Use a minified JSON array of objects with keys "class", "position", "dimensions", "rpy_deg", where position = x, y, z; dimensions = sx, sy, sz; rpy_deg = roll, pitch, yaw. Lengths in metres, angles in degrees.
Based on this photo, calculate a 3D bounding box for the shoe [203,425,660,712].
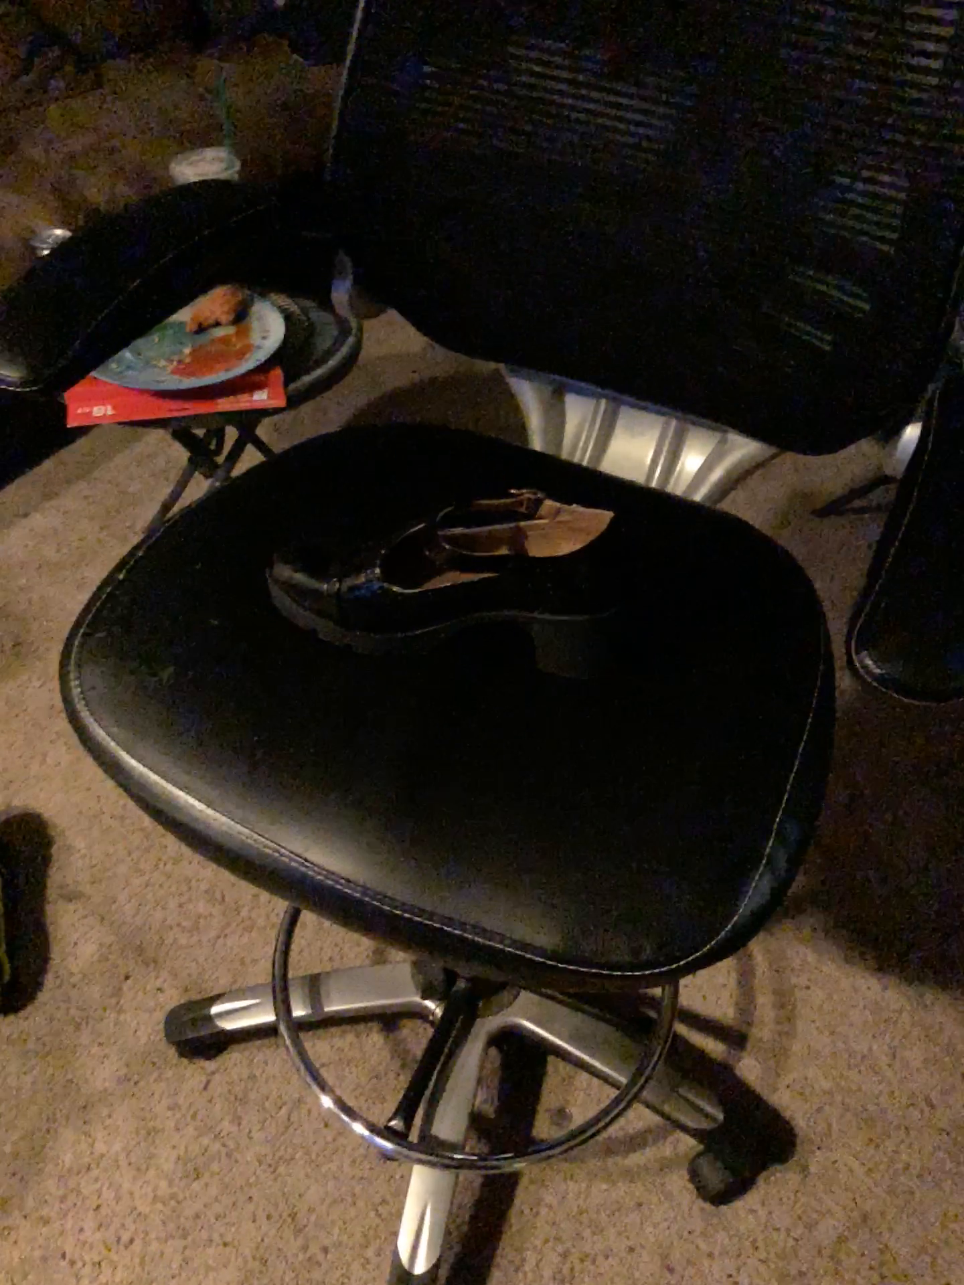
[{"class":"shoe","position":[-0.030,-0.053,0.713],"dimensions":[0.270,0.100,0.110],"rpy_deg":[11,44,9]}]
